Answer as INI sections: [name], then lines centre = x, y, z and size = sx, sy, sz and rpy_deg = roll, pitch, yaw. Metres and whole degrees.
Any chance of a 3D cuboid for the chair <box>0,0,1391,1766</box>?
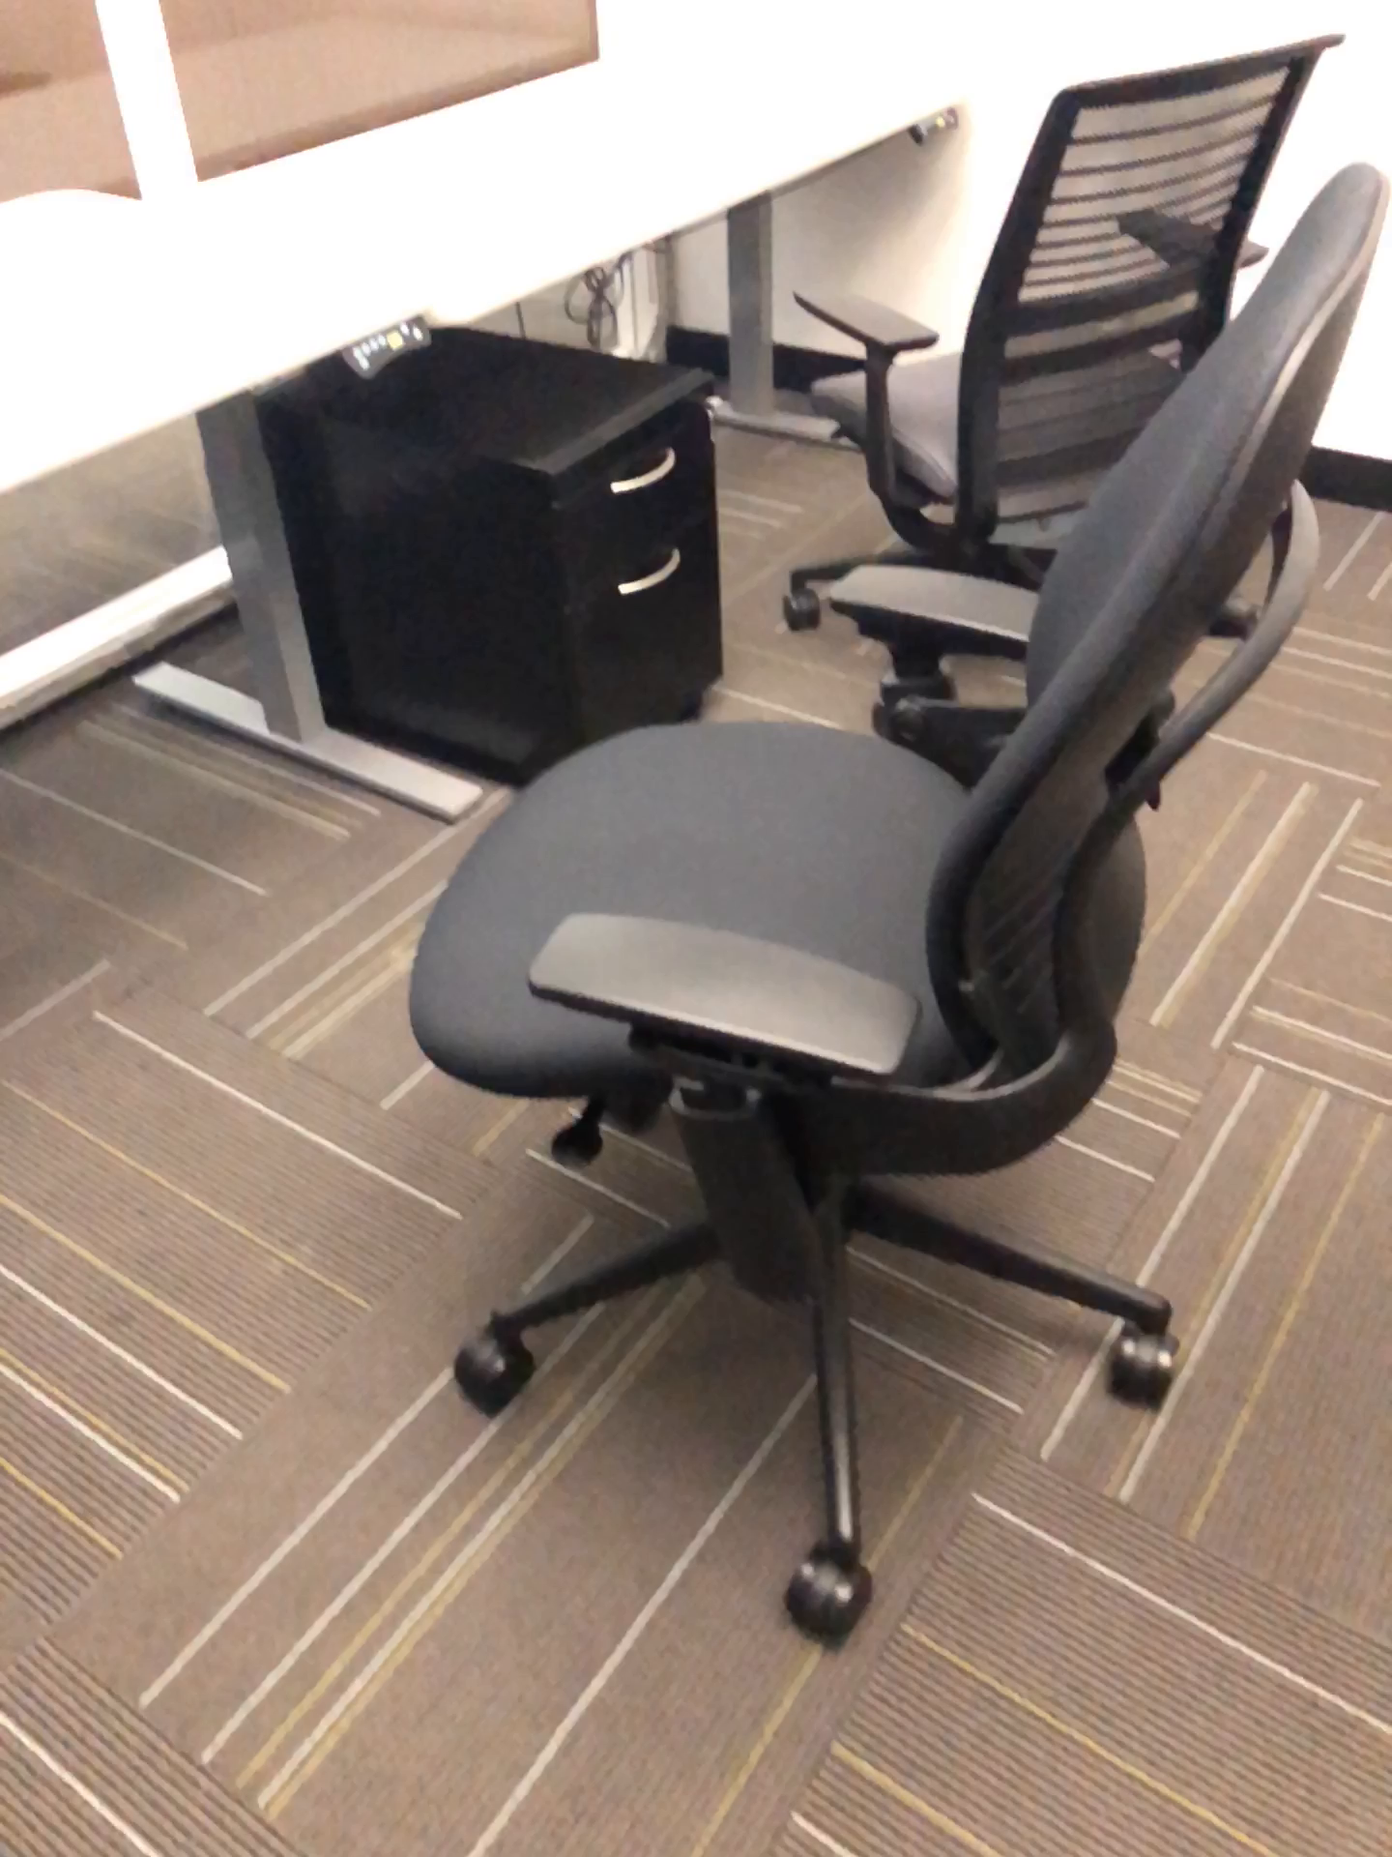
[chair]
centre = 0.069, -0.088, 1.196
size = 0.831, 1.035, 0.733
rpy_deg = 12, 41, 18
